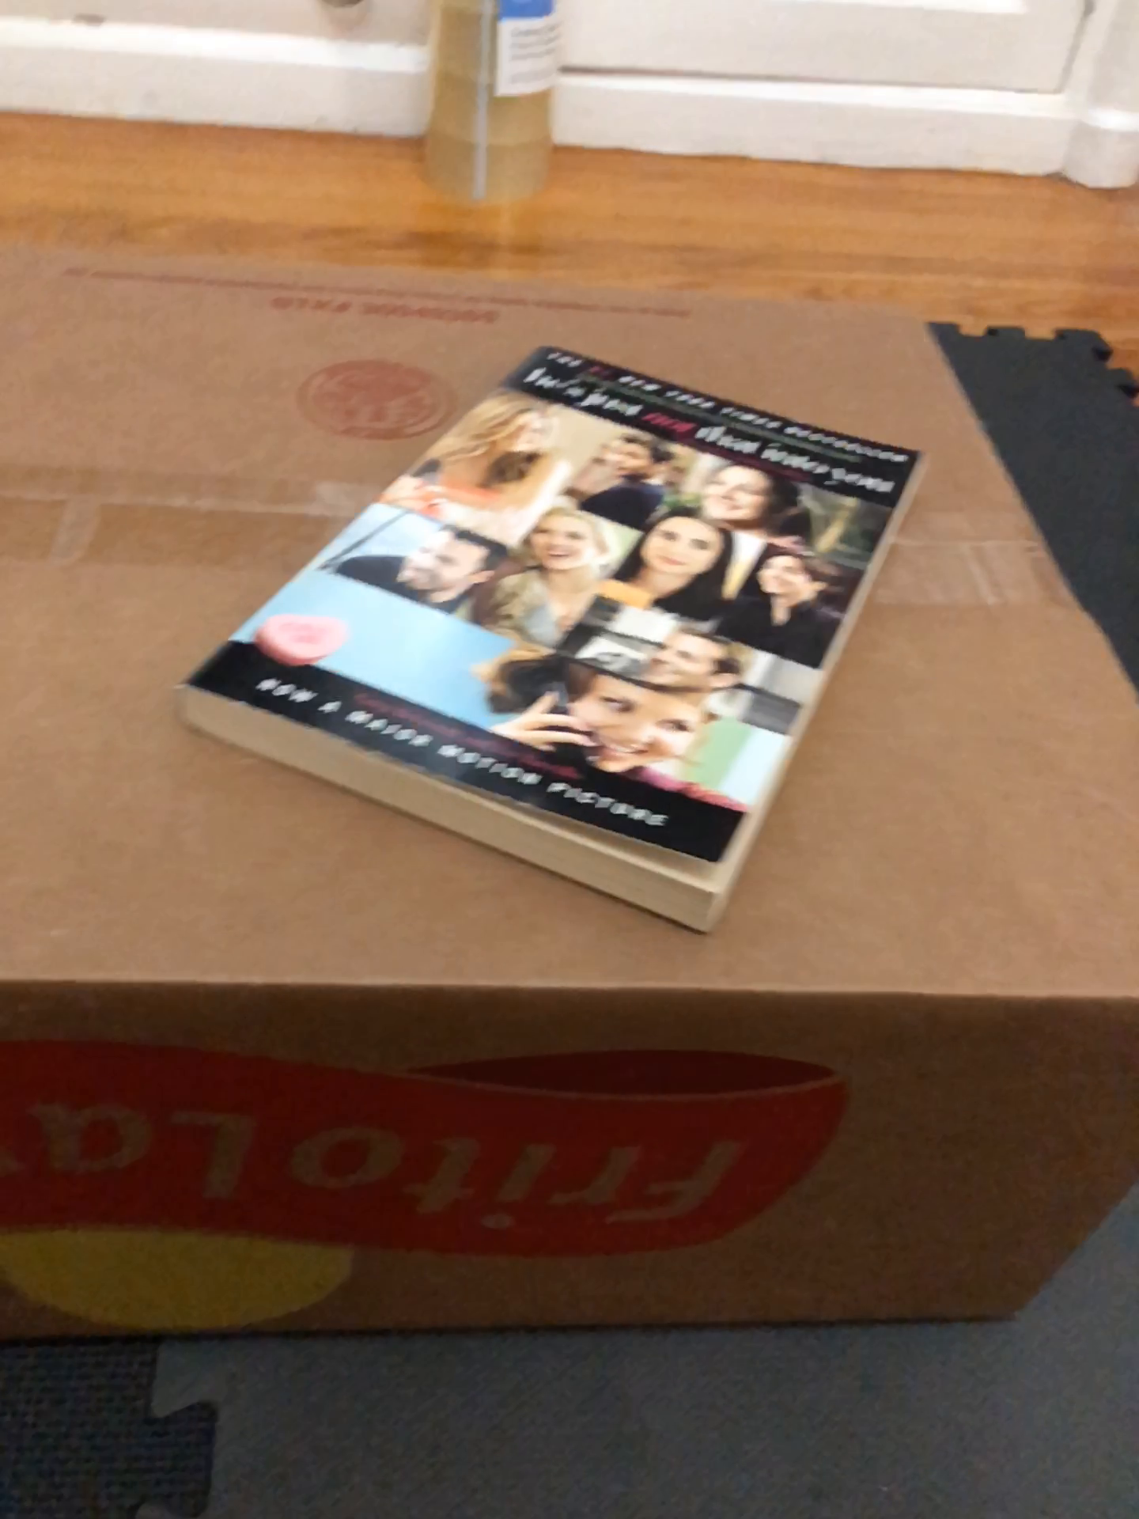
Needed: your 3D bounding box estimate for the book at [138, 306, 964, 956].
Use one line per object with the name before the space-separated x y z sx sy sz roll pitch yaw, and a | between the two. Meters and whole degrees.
book | 0.012 -0.057 0.357 0.160 0.020 0.211 19 46 12
